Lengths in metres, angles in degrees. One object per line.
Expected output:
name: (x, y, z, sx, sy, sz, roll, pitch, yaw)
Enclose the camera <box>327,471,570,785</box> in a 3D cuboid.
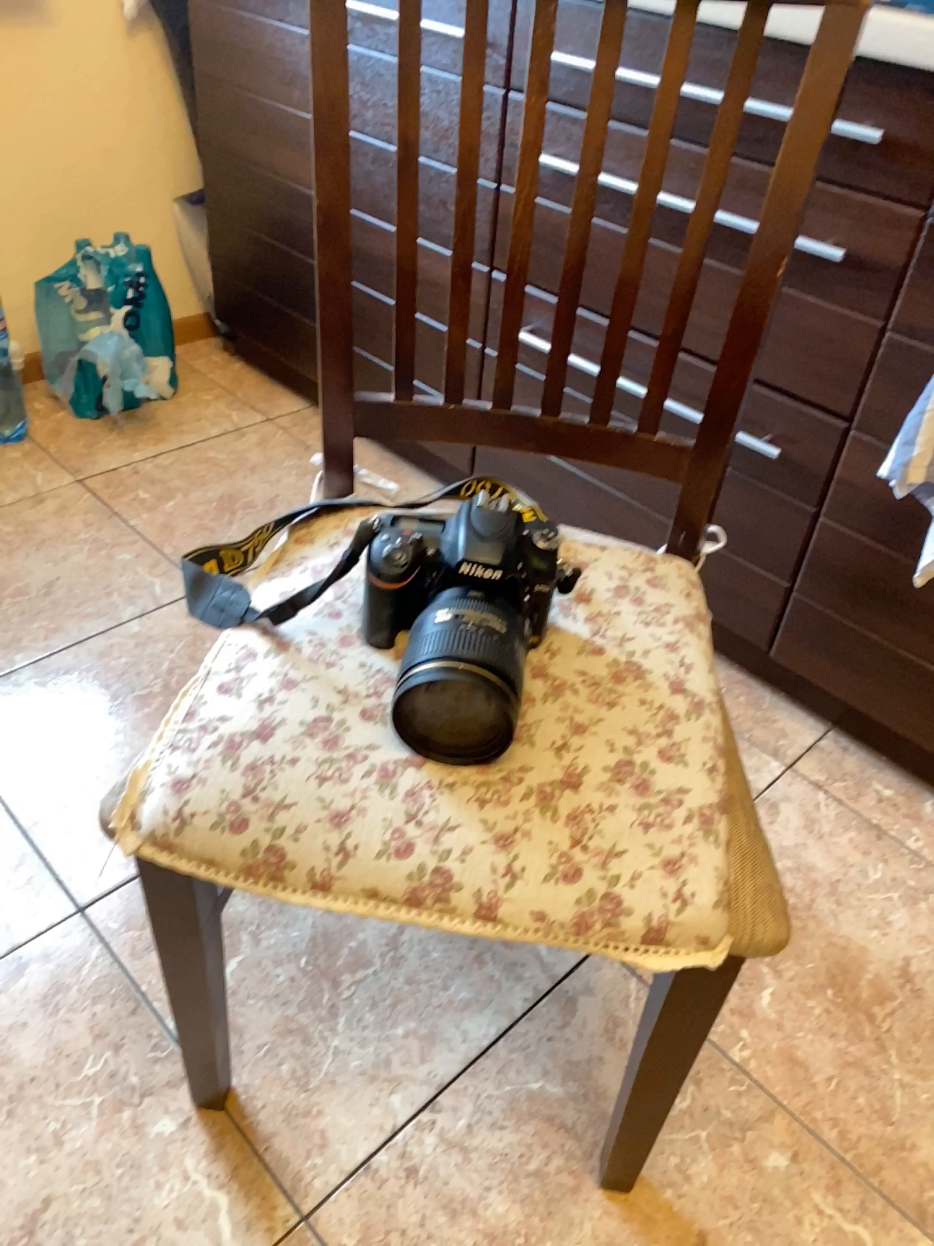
camera: (-0.009, -0.002, 0.641, 0.135, 0.120, 0.165, 8, 38, 2)
